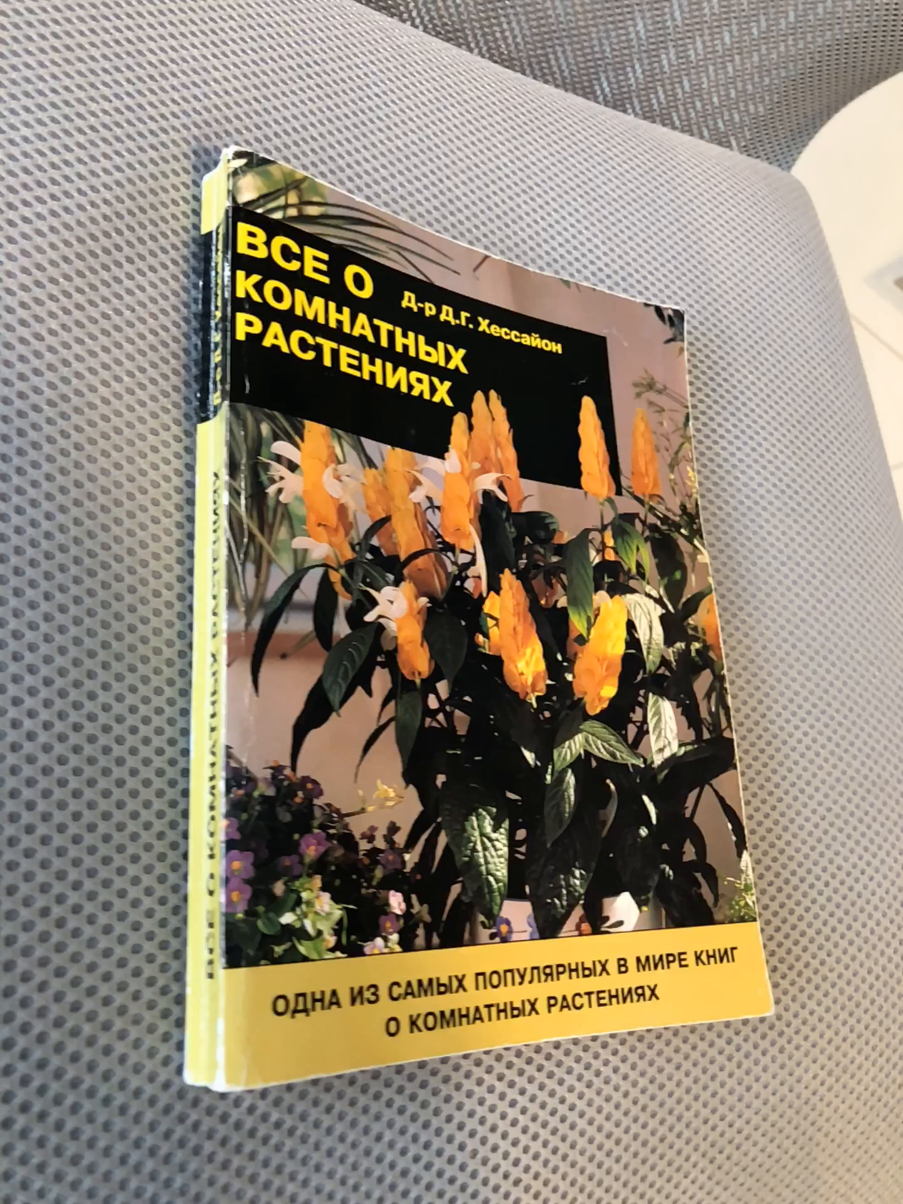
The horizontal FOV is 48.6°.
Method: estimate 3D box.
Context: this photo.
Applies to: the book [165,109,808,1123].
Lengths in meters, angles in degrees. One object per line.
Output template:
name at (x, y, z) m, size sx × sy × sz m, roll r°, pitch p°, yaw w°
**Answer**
book at (0.013, 0.000, 0.276) m, size 0.171 × 0.030 × 0.230 m, roll 8°, pitch 70°, yaw -33°
